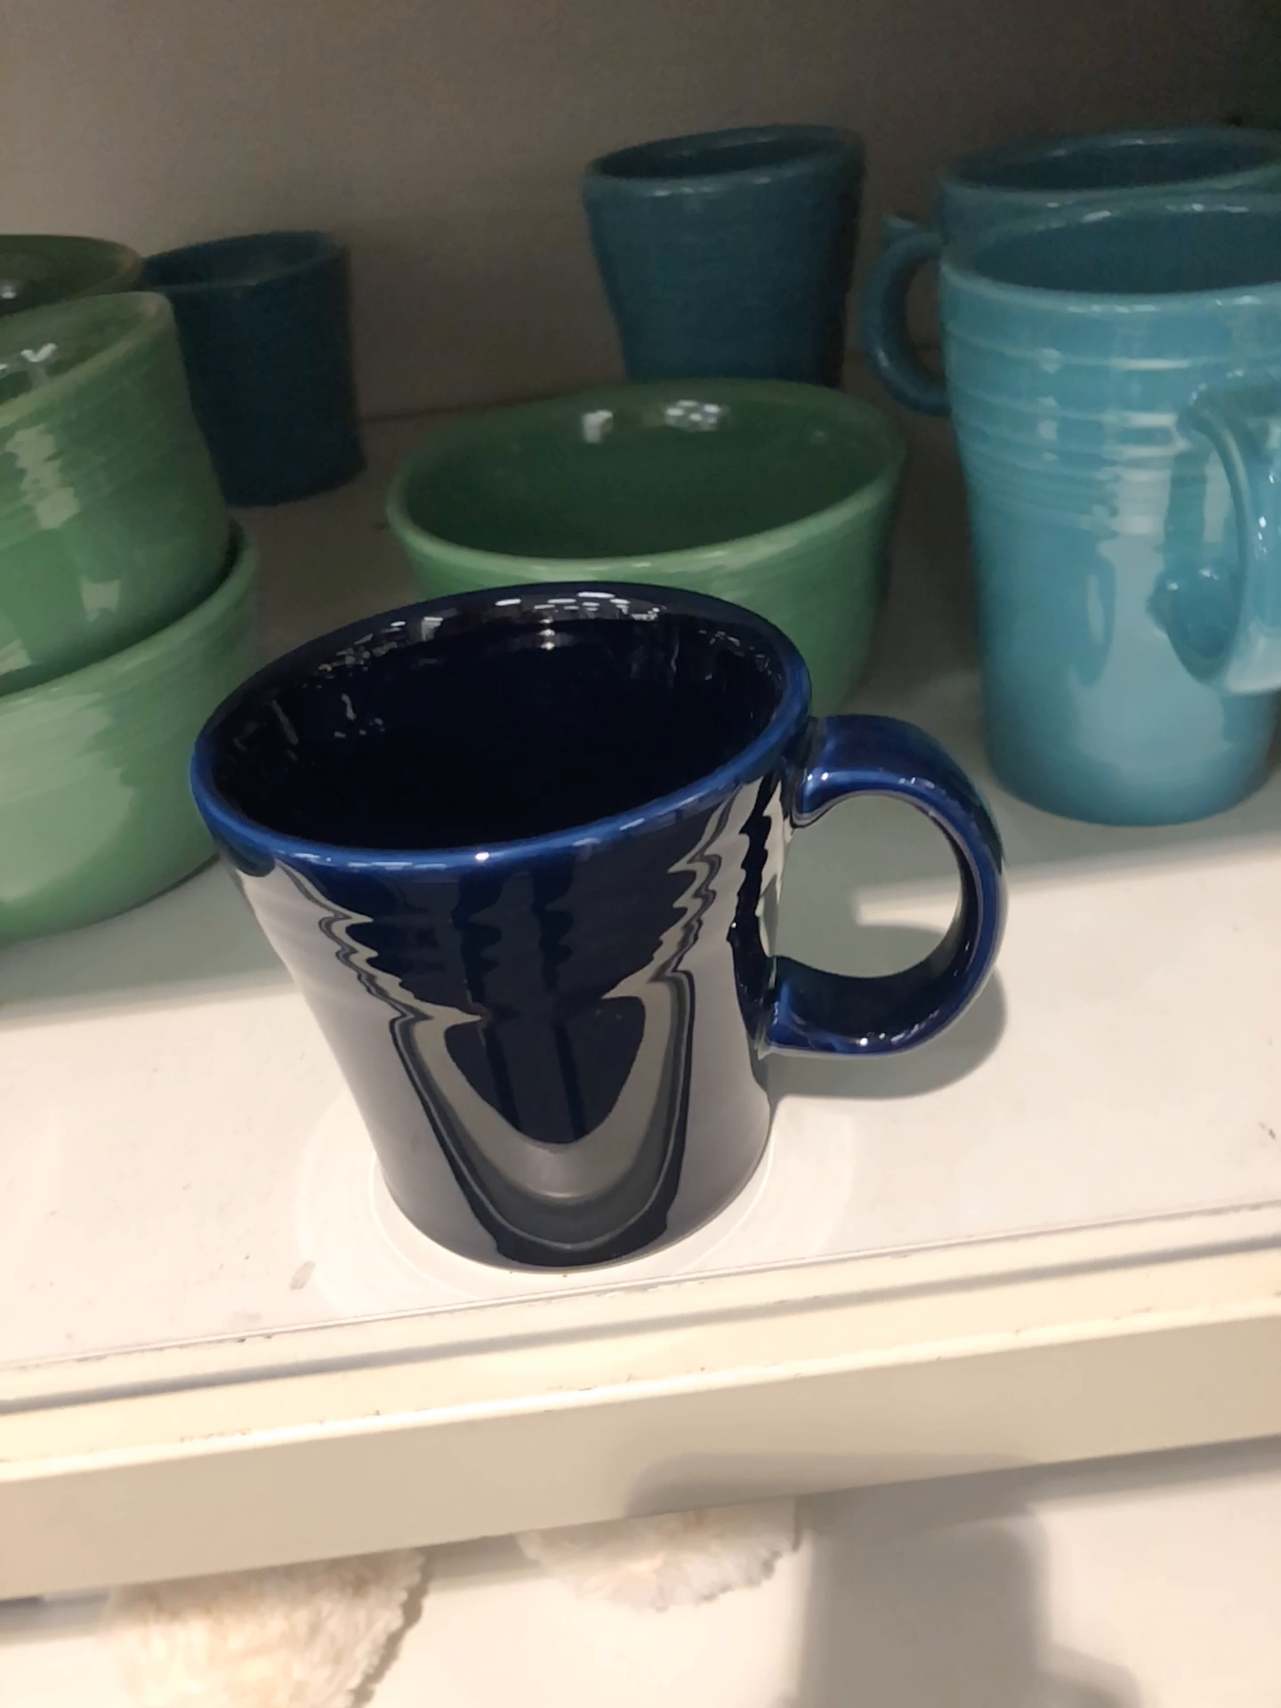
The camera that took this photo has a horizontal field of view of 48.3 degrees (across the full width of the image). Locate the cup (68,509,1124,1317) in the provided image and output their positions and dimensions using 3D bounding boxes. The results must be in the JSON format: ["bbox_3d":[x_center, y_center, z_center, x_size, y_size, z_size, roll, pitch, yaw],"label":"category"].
[{"bbox_3d":[-0.003,0.007,0.254,0.143,0.085,0.094,-8,35,3],"label":"cup"}]
